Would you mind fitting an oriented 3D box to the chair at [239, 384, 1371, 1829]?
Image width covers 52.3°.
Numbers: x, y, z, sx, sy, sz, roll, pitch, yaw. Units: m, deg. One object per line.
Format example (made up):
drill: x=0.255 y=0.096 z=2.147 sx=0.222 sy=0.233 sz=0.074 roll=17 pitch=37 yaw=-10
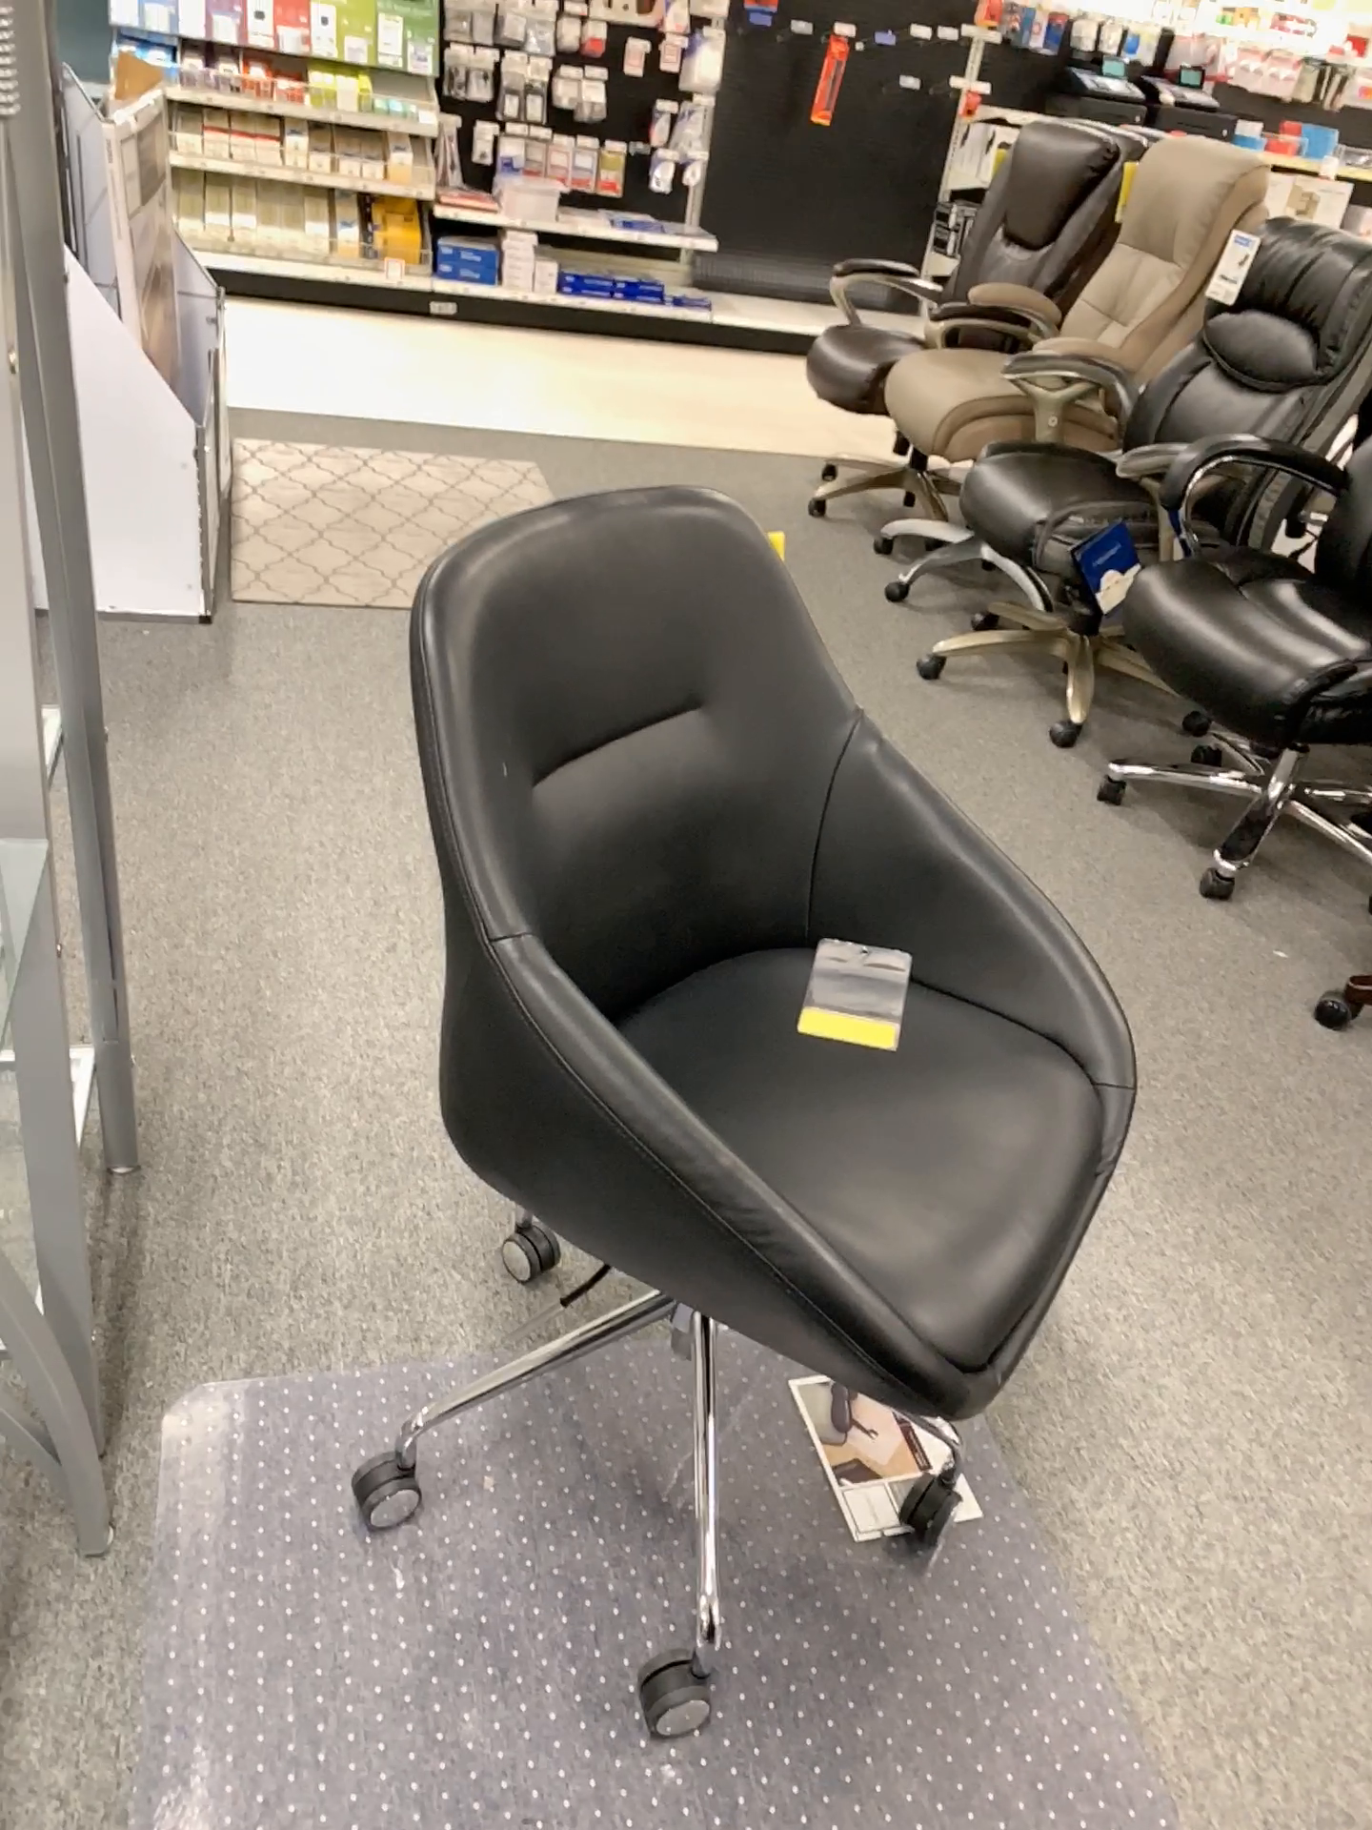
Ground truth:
chair: x=0.106 y=0.122 z=1.198 sx=0.621 sy=0.885 sz=0.673 roll=24 pitch=35 yaw=21
